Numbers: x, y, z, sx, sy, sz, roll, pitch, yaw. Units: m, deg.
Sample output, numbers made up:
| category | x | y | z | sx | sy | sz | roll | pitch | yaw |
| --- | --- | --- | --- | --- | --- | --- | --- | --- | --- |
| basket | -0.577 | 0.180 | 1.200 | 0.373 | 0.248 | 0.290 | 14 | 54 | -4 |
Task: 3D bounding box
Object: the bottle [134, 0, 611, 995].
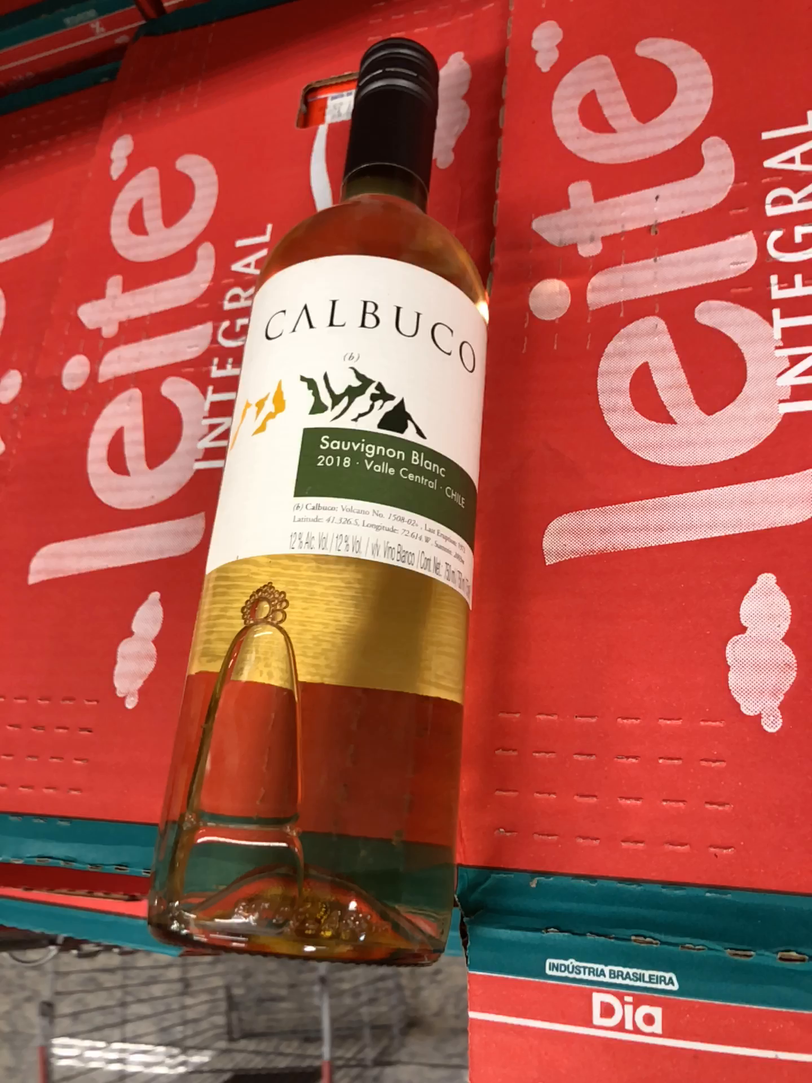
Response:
| category | x | y | z | sx | sy | sz | roll | pitch | yaw |
| --- | --- | --- | --- | --- | --- | --- | --- | --- | --- |
| bottle | -0.007 | -0.040 | 0.261 | 0.090 | 0.100 | 0.290 | 9 | 70 | -13 |
